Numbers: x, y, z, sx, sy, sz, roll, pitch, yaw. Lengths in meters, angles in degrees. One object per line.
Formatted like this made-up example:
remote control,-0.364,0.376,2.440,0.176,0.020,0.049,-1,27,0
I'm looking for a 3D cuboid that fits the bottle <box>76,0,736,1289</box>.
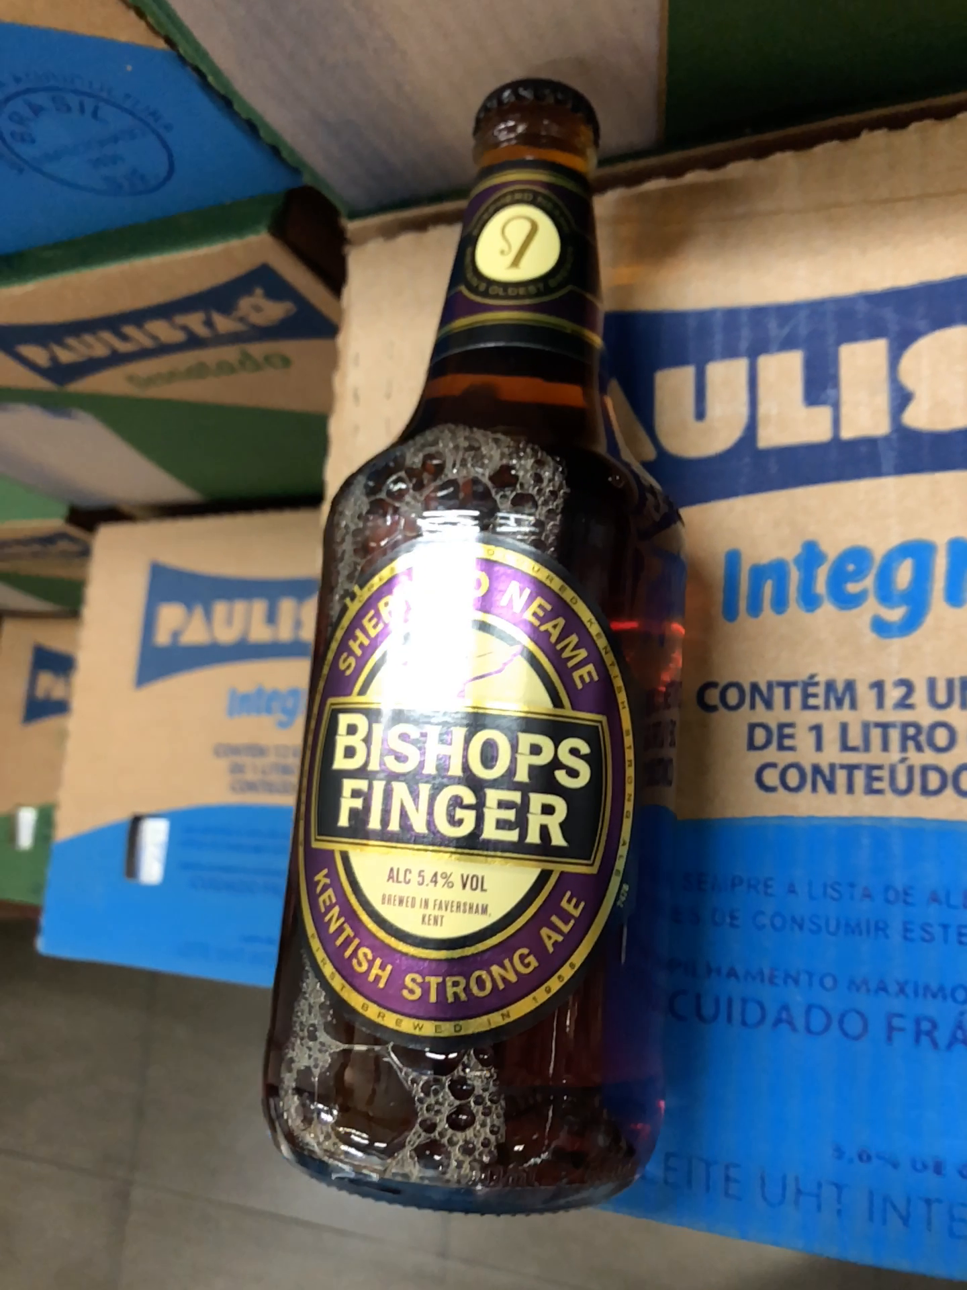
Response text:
bottle,-0.003,-0.024,0.213,0.080,0.070,0.250,0,77,25
